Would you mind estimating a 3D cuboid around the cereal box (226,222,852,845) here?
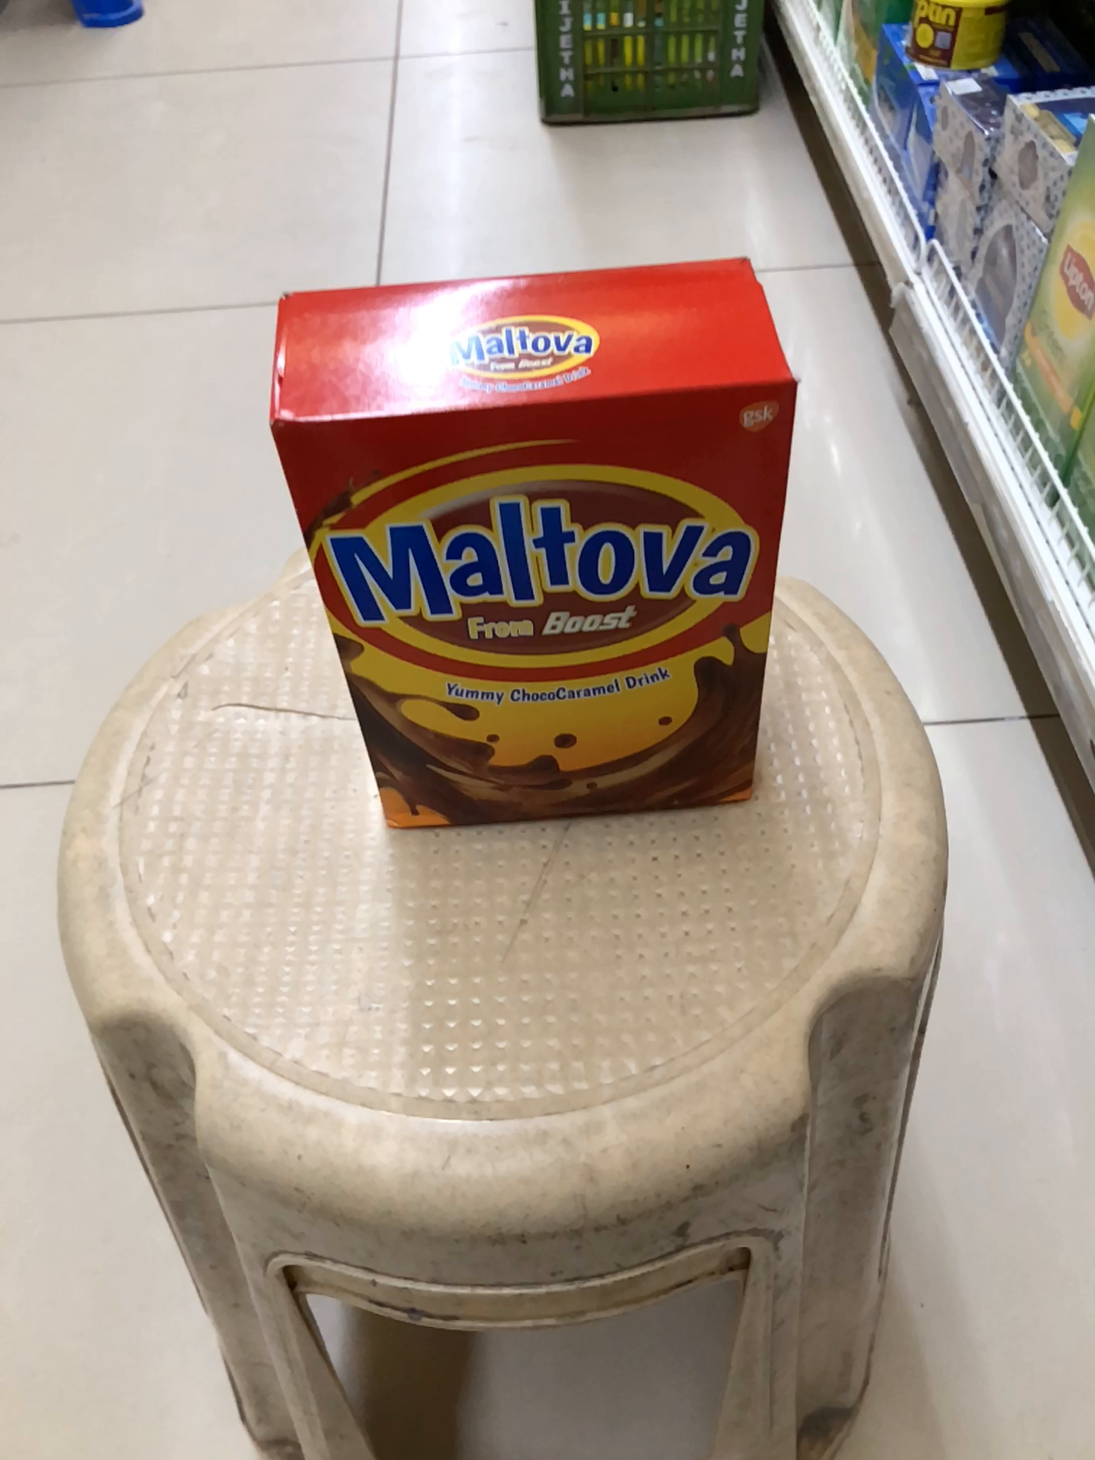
[{"bbox_3d":[0.000,-0.050,0.380,0.150,0.179,0.070,-4,49,0],"label":"cereal box"}]
